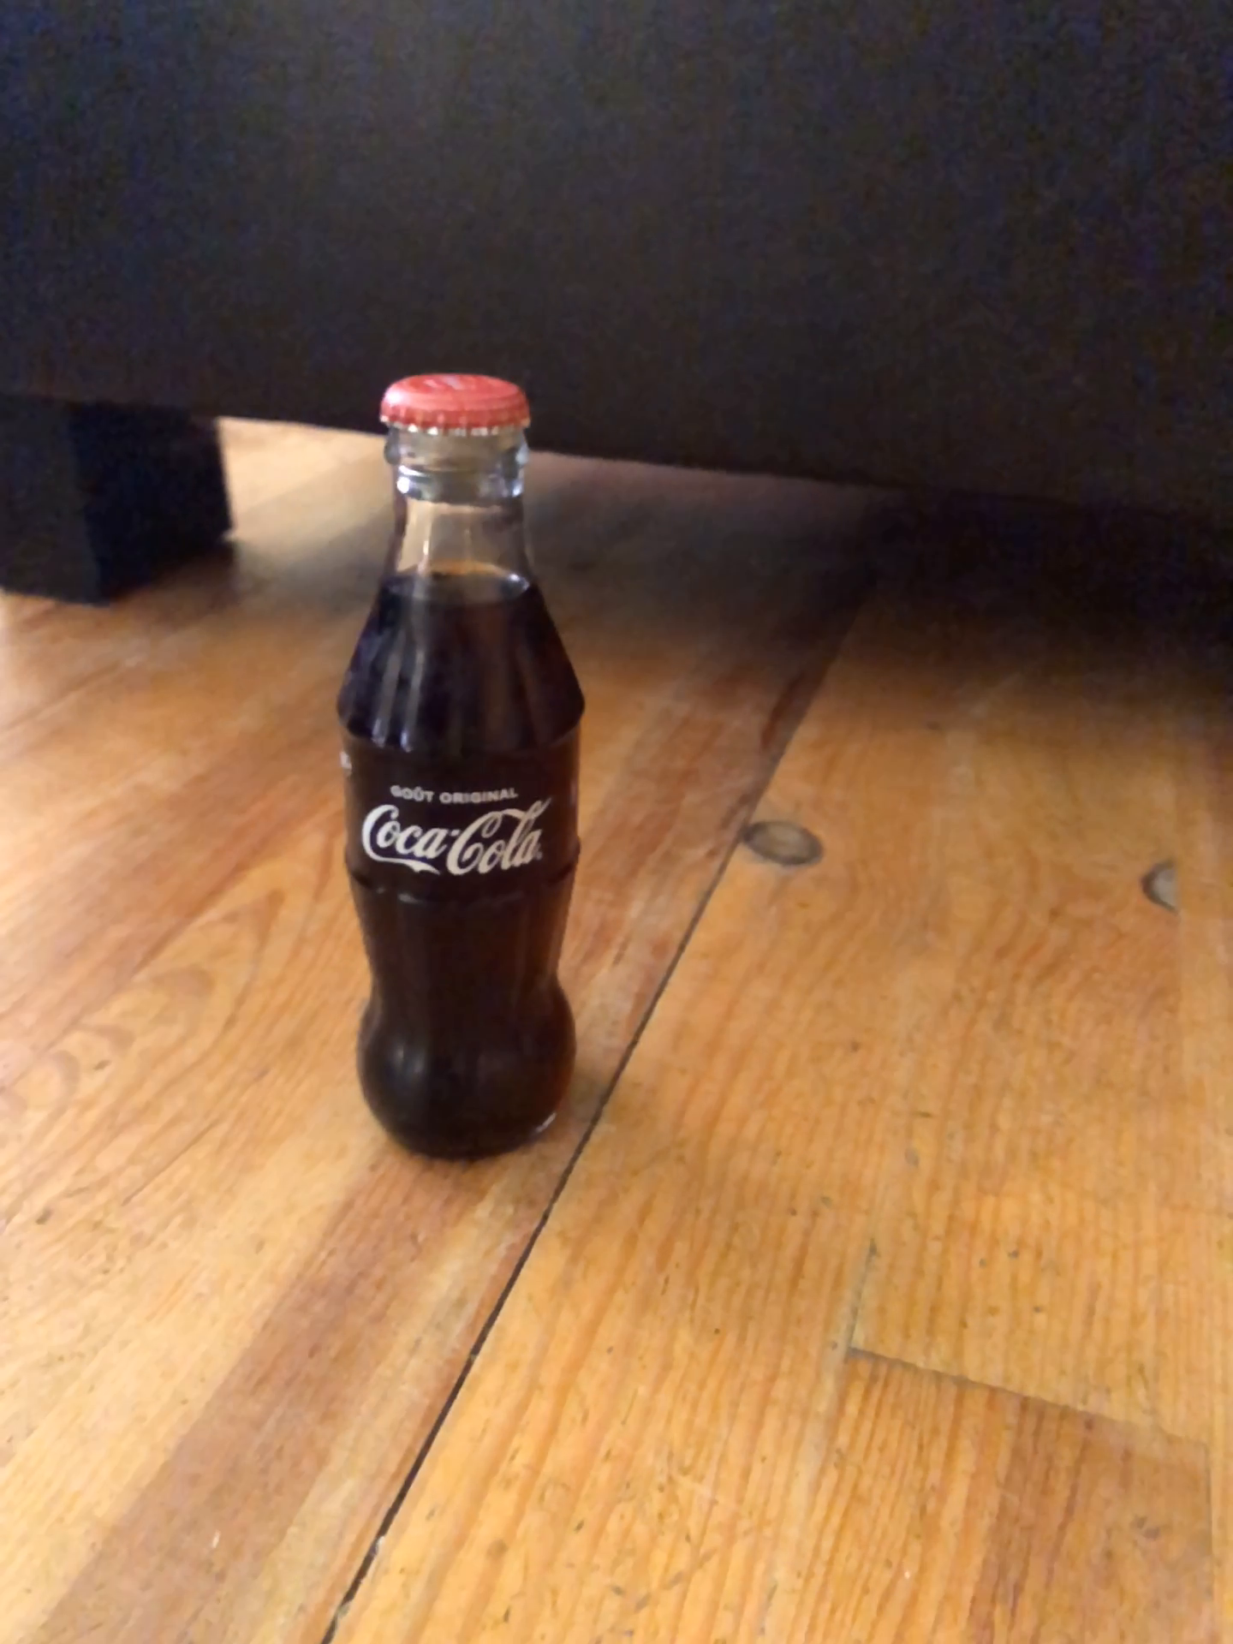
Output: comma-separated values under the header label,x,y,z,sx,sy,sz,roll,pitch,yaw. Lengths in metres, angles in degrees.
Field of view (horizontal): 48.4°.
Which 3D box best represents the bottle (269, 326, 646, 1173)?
label,x,y,z,sx,sy,sz,roll,pitch,yaw
bottle,-0.029,-0.012,0.296,0.060,0.169,0.060,1,28,-1
